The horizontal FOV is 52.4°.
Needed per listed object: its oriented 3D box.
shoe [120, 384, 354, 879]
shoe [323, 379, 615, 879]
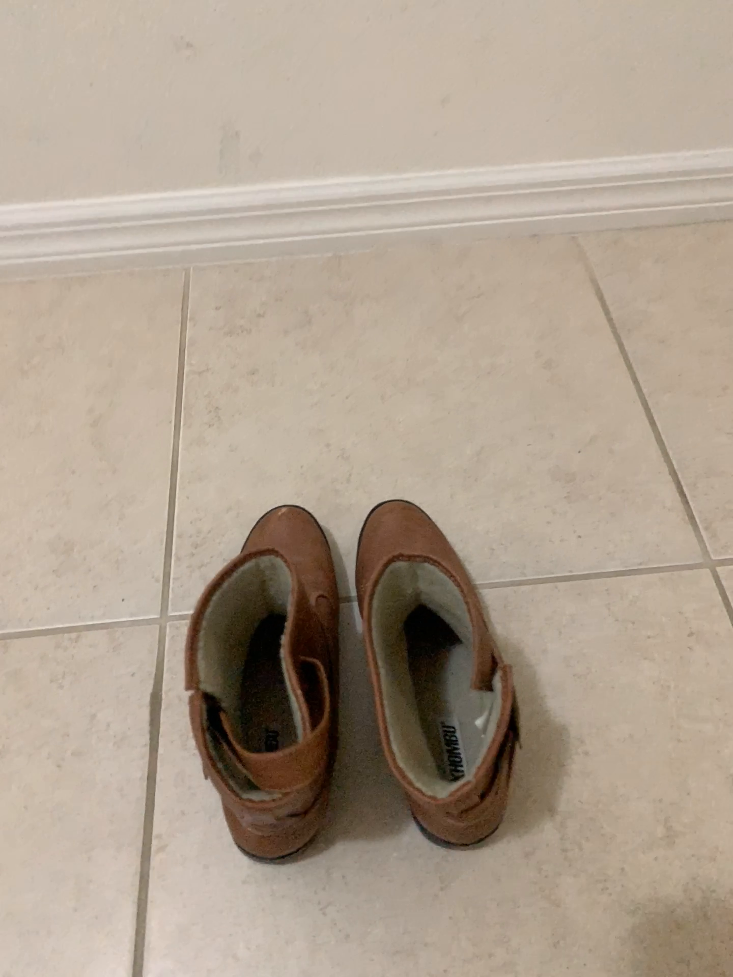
[{"bbox_3d":[-0.067,0.093,0.478,0.094,0.192,0.247,-5,54,-1],"label":"shoe"},{"bbox_3d":[0.046,0.089,0.489,0.107,0.173,0.261,-8,54,-3],"label":"shoe"}]
